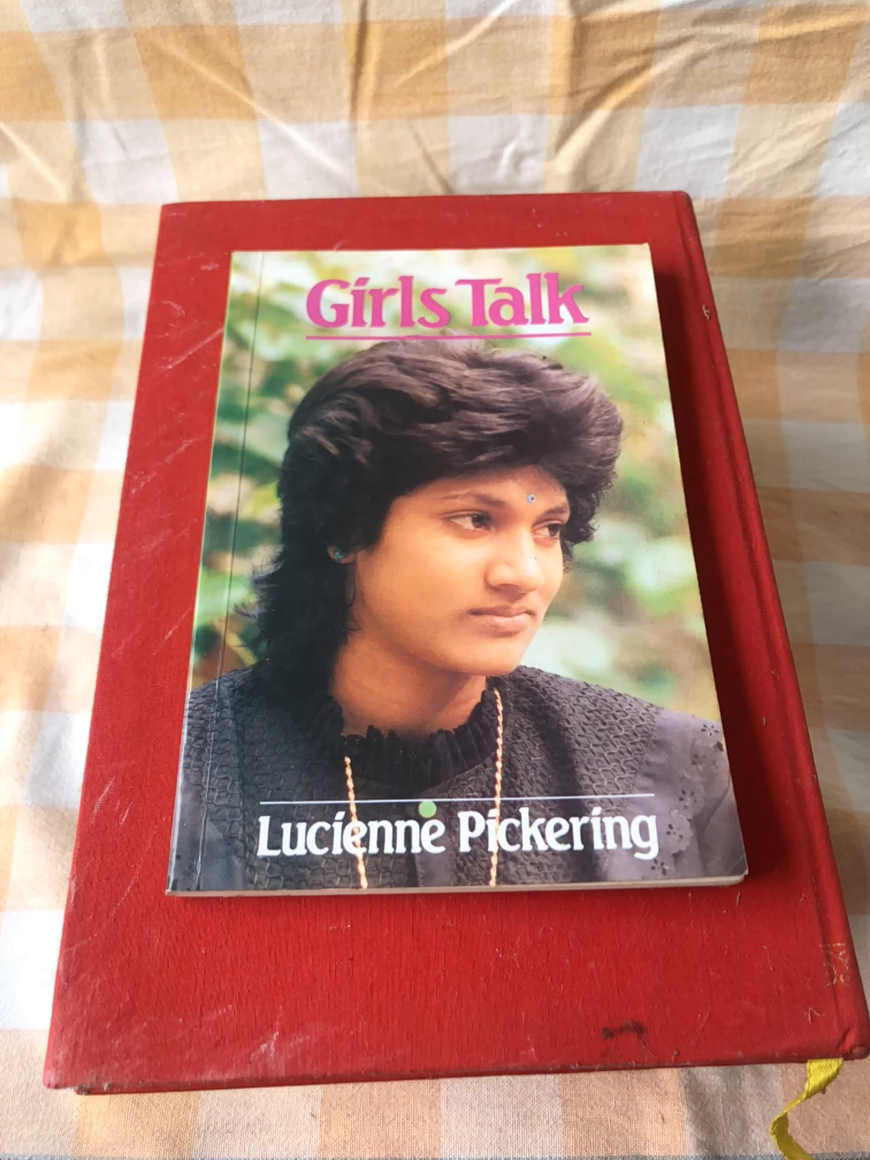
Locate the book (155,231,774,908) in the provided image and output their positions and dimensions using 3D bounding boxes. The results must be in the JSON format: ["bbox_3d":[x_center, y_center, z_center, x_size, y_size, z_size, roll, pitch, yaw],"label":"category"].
[{"bbox_3d":[0.004,-0.013,0.255,0.130,0.025,0.182,-1,64,0],"label":"book"}]

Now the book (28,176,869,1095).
[{"bbox_3d":[0.003,-0.006,0.262,0.174,0.031,0.249,-2,63,-1],"label":"book"}]
